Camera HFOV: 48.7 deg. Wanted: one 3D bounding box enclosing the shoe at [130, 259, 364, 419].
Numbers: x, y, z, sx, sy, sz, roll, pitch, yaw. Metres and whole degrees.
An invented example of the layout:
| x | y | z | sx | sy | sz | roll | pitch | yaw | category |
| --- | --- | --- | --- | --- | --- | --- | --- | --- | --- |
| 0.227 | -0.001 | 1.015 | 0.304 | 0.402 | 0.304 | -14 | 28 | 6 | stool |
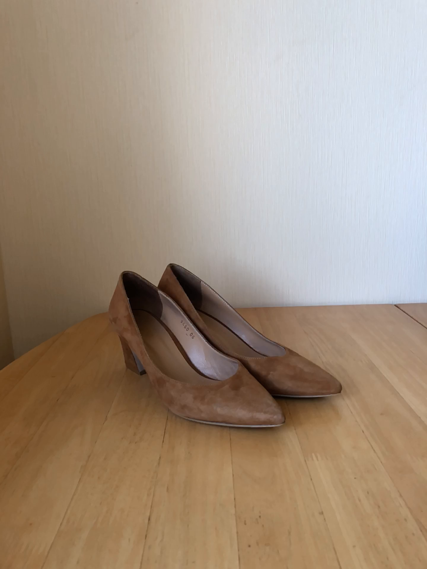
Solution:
| x | y | z | sx | sy | sz | roll | pitch | yaw | category |
| --- | --- | --- | --- | --- | --- | --- | --- | --- | --- |
| 0.027 | 0.045 | 0.541 | 0.260 | 0.110 | 0.089 | 10 | 18 | 40 | shoe |

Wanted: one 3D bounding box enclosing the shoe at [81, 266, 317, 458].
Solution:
| x | y | z | sx | sy | sz | roll | pitch | yaw | category |
| --- | --- | --- | --- | --- | --- | --- | --- | --- | --- |
| -0.027 | 0.058 | 0.481 | 0.089 | 0.110 | 0.250 | -14 | 19 | -42 | shoe |
